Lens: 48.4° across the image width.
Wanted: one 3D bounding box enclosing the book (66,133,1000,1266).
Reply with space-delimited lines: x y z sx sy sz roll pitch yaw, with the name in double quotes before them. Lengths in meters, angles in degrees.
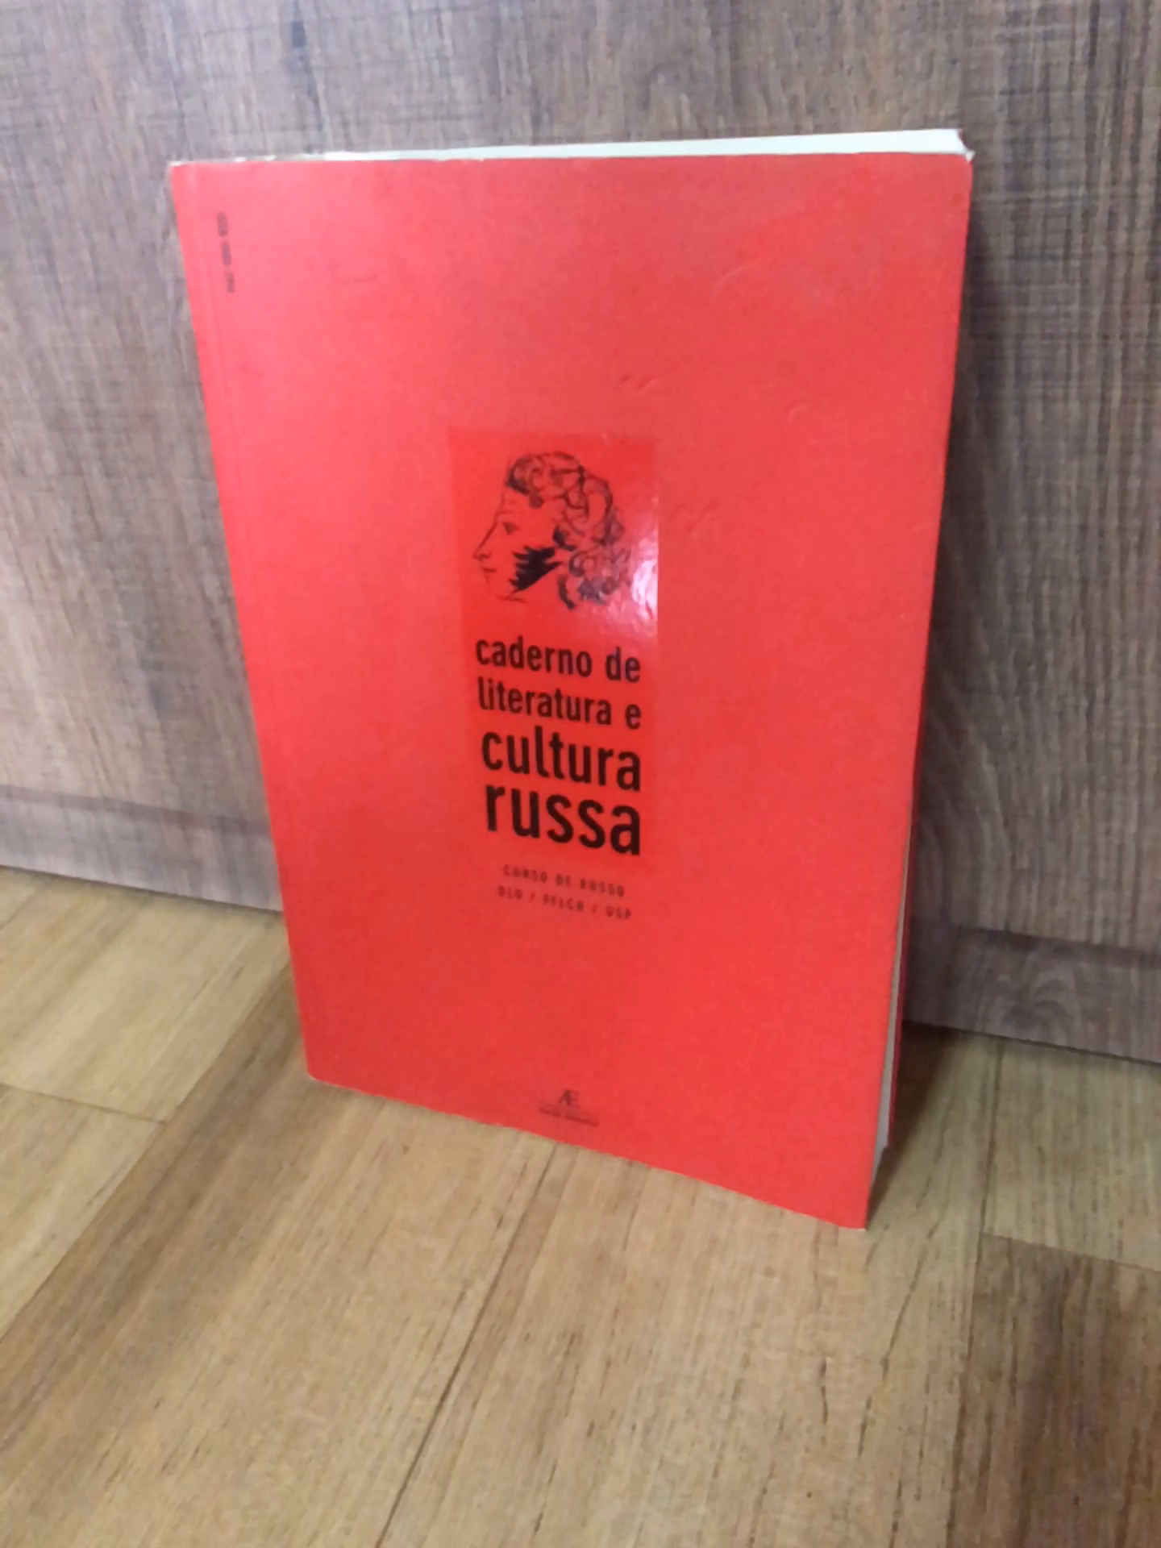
"book" -0.011 -0.013 0.313 0.187 0.248 0.040 9 28 21
